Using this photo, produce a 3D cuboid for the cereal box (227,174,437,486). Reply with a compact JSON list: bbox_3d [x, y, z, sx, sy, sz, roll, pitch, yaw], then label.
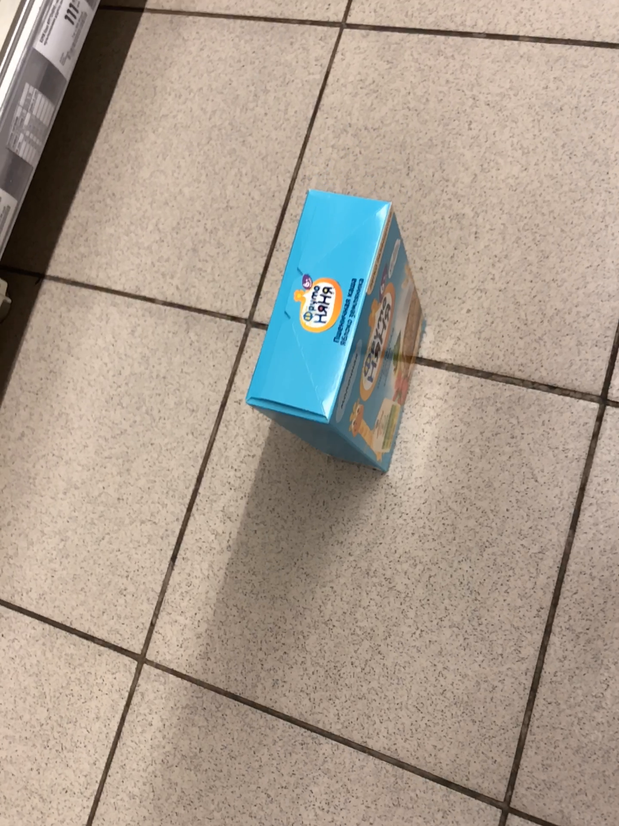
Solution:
[{"bbox_3d":[0.029,-0.037,0.452,0.060,0.200,0.140,13,82,17],"label":"cereal box"}]
